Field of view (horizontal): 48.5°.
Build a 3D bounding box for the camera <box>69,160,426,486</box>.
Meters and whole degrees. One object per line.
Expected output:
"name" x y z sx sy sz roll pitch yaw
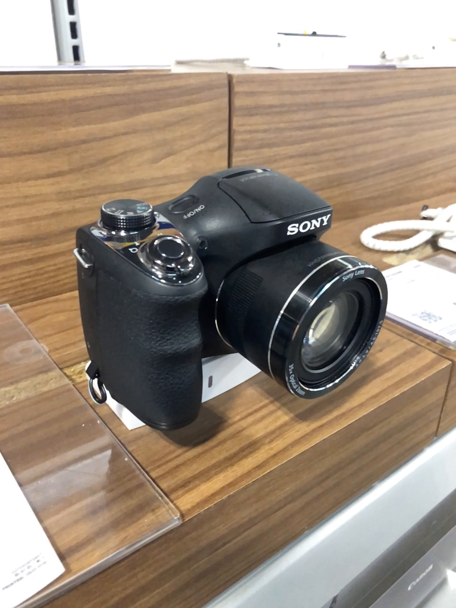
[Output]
"camera" 0.010 -0.007 0.231 0.120 0.092 0.090 -19 30 -36
